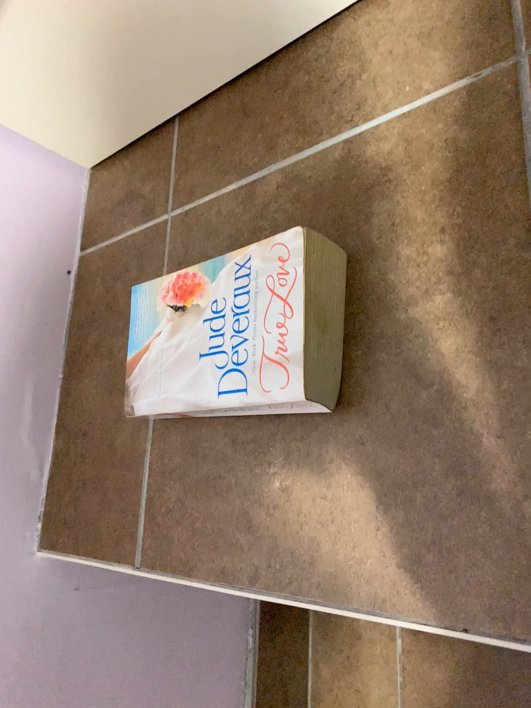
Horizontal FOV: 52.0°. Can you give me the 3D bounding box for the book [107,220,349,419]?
[{"bbox_3d":[-0.033,-0.013,0.380,0.180,0.047,0.106,-7,73,40],"label":"book"}]
